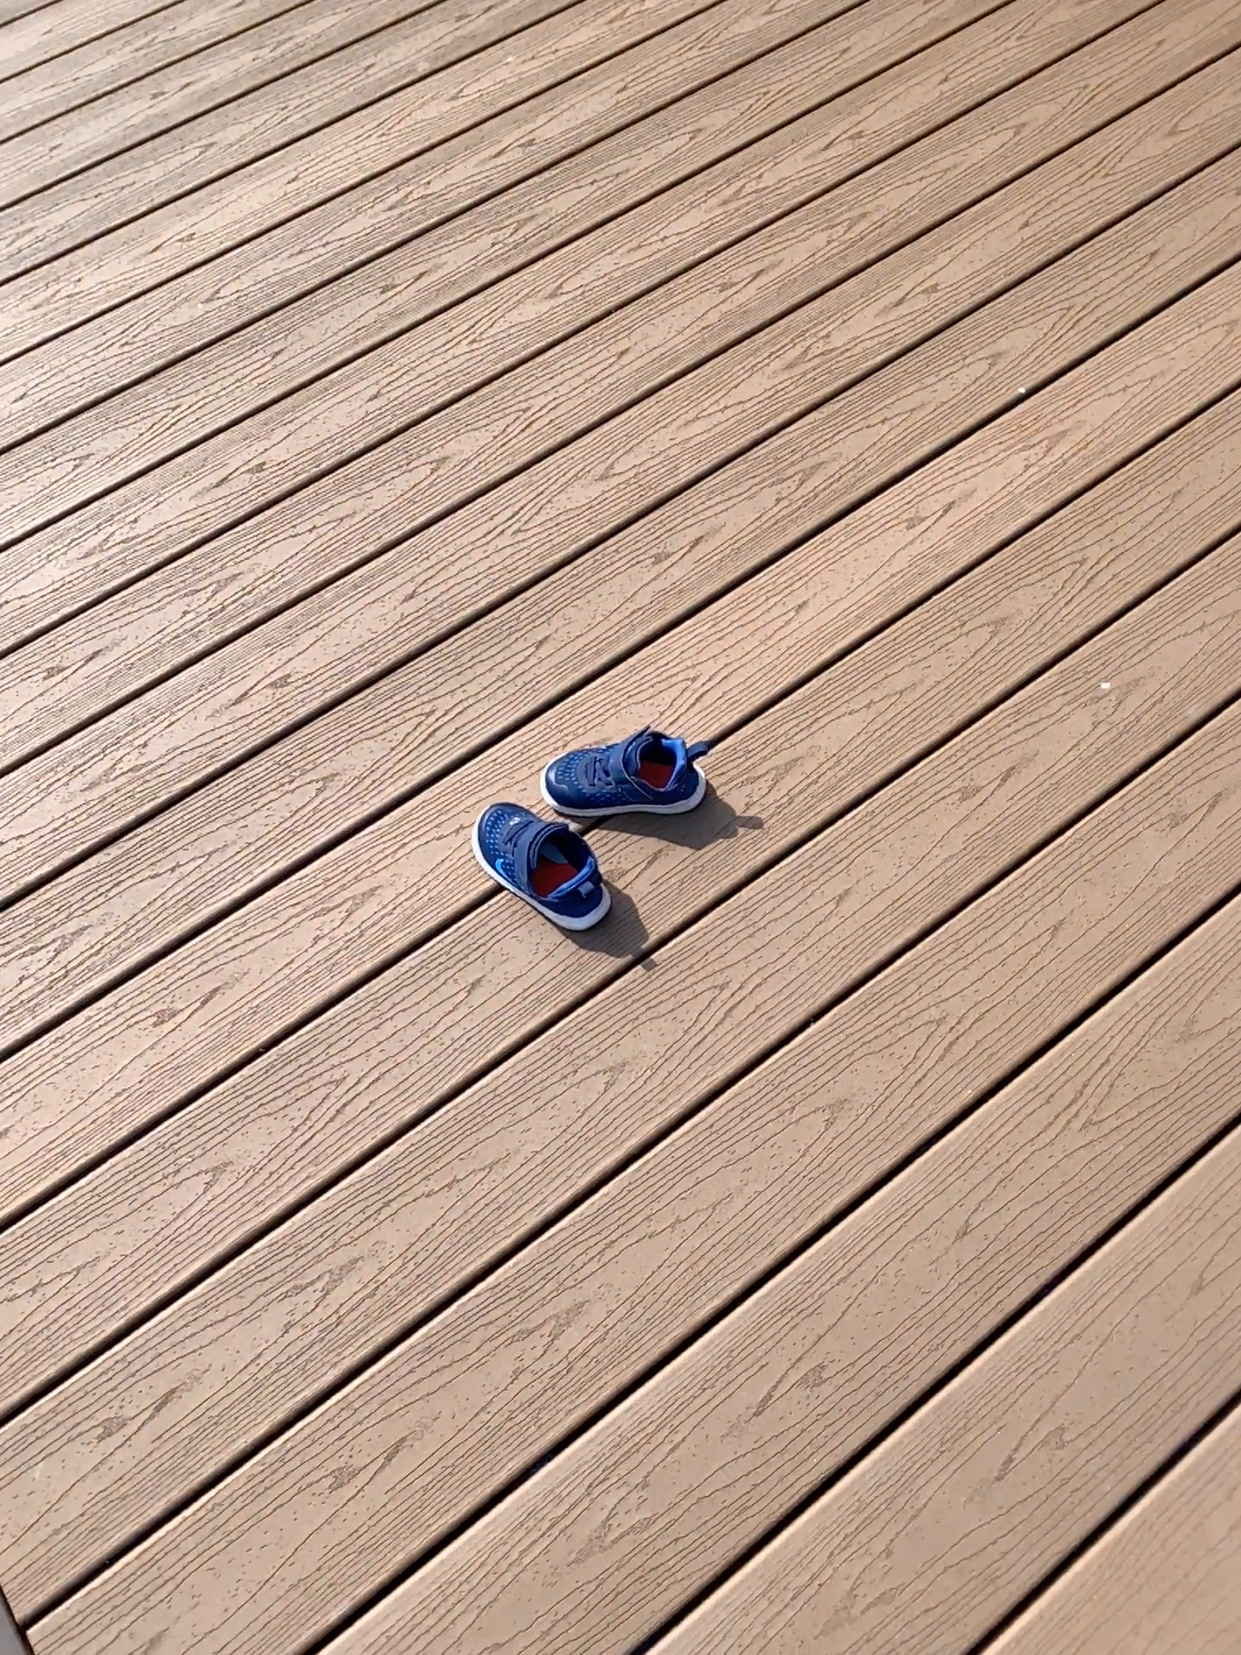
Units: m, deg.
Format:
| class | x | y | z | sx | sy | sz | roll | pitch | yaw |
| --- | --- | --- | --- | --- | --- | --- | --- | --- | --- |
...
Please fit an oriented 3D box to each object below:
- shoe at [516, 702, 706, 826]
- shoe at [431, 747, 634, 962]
| class | x | y | z | sx | sy | sz | roll | pitch | yaw |
| --- | --- | --- | --- | --- | --- | --- | --- | --- | --- |
| shoe | -0.005 | -0.059 | 1.200 | 0.170 | 0.090 | 0.080 | -1 | 61 | 5 |
| shoe | -0.079 | 0.024 | 1.154 | 0.080 | 0.090 | 0.170 | -42 | 66 | -16 |
